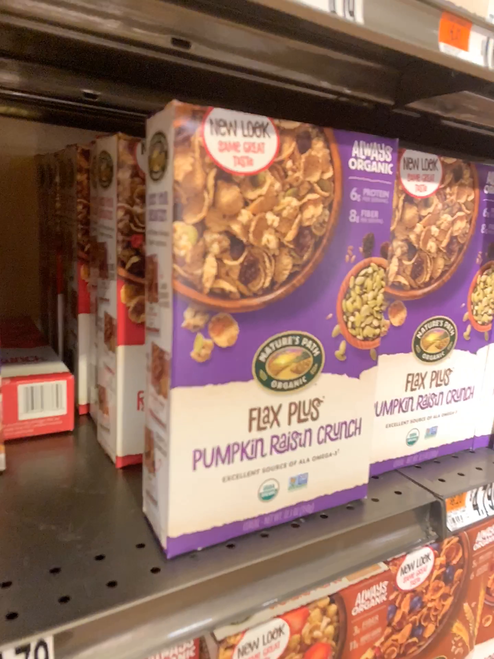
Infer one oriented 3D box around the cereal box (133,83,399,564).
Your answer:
[{"bbox_3d":[0.014,-0.002,0.343,0.170,0.269,0.050,-3,10,-31],"label":"cereal box"}]
